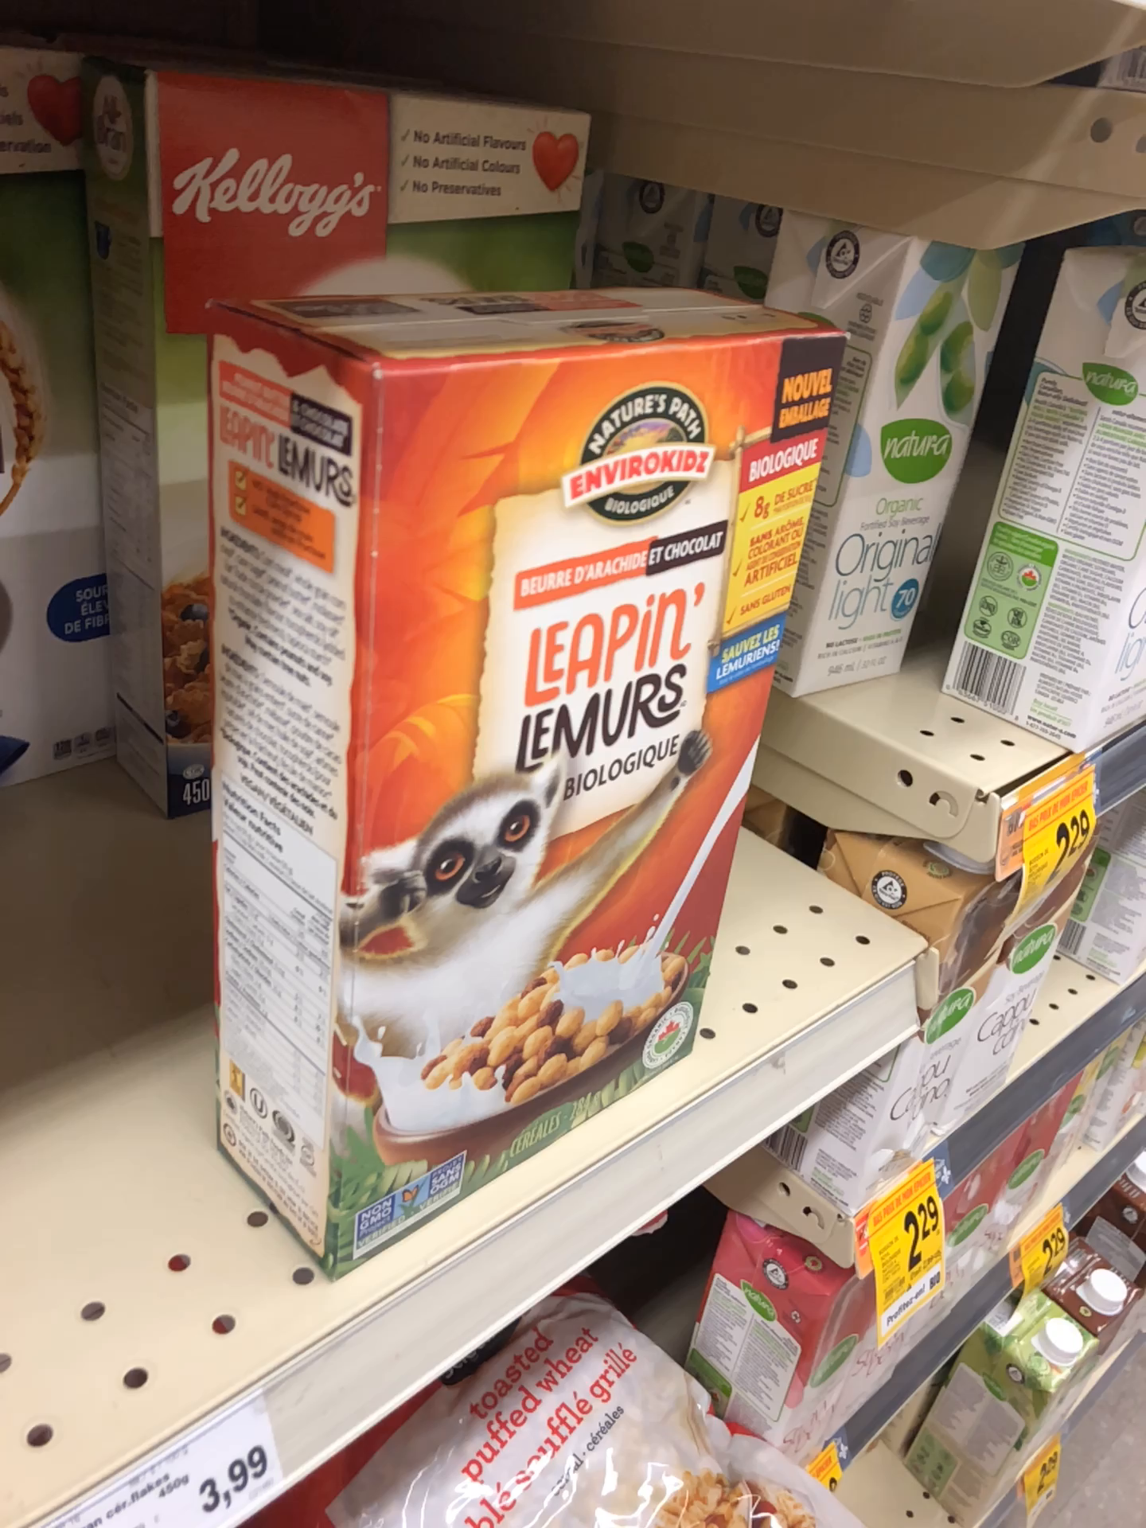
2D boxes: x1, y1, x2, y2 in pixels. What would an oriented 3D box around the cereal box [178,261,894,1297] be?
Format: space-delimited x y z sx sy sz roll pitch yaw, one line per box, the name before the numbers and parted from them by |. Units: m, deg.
cereal box | -0.016 -0.001 0.365 0.171 0.258 0.070 -20 40 -41
